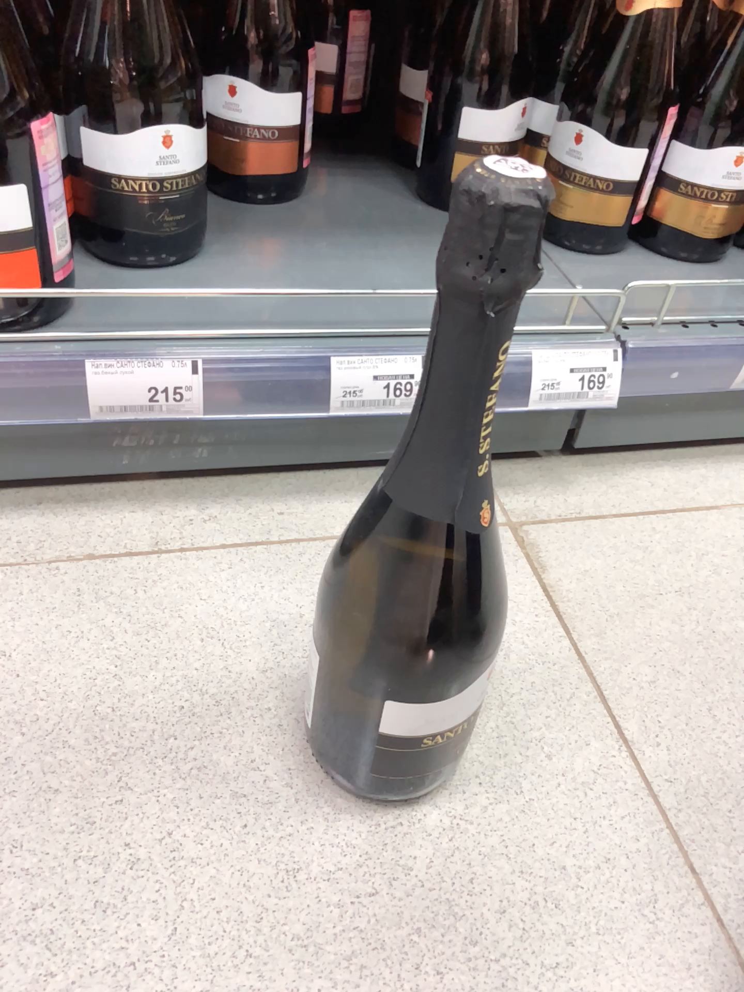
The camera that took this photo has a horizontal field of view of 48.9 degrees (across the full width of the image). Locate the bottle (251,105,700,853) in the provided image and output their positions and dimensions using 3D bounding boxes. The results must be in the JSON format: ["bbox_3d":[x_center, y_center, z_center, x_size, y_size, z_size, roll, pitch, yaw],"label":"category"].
[{"bbox_3d":[0.025,0.009,0.358,0.100,0.298,0.111,27,42,22],"label":"bottle"}]
